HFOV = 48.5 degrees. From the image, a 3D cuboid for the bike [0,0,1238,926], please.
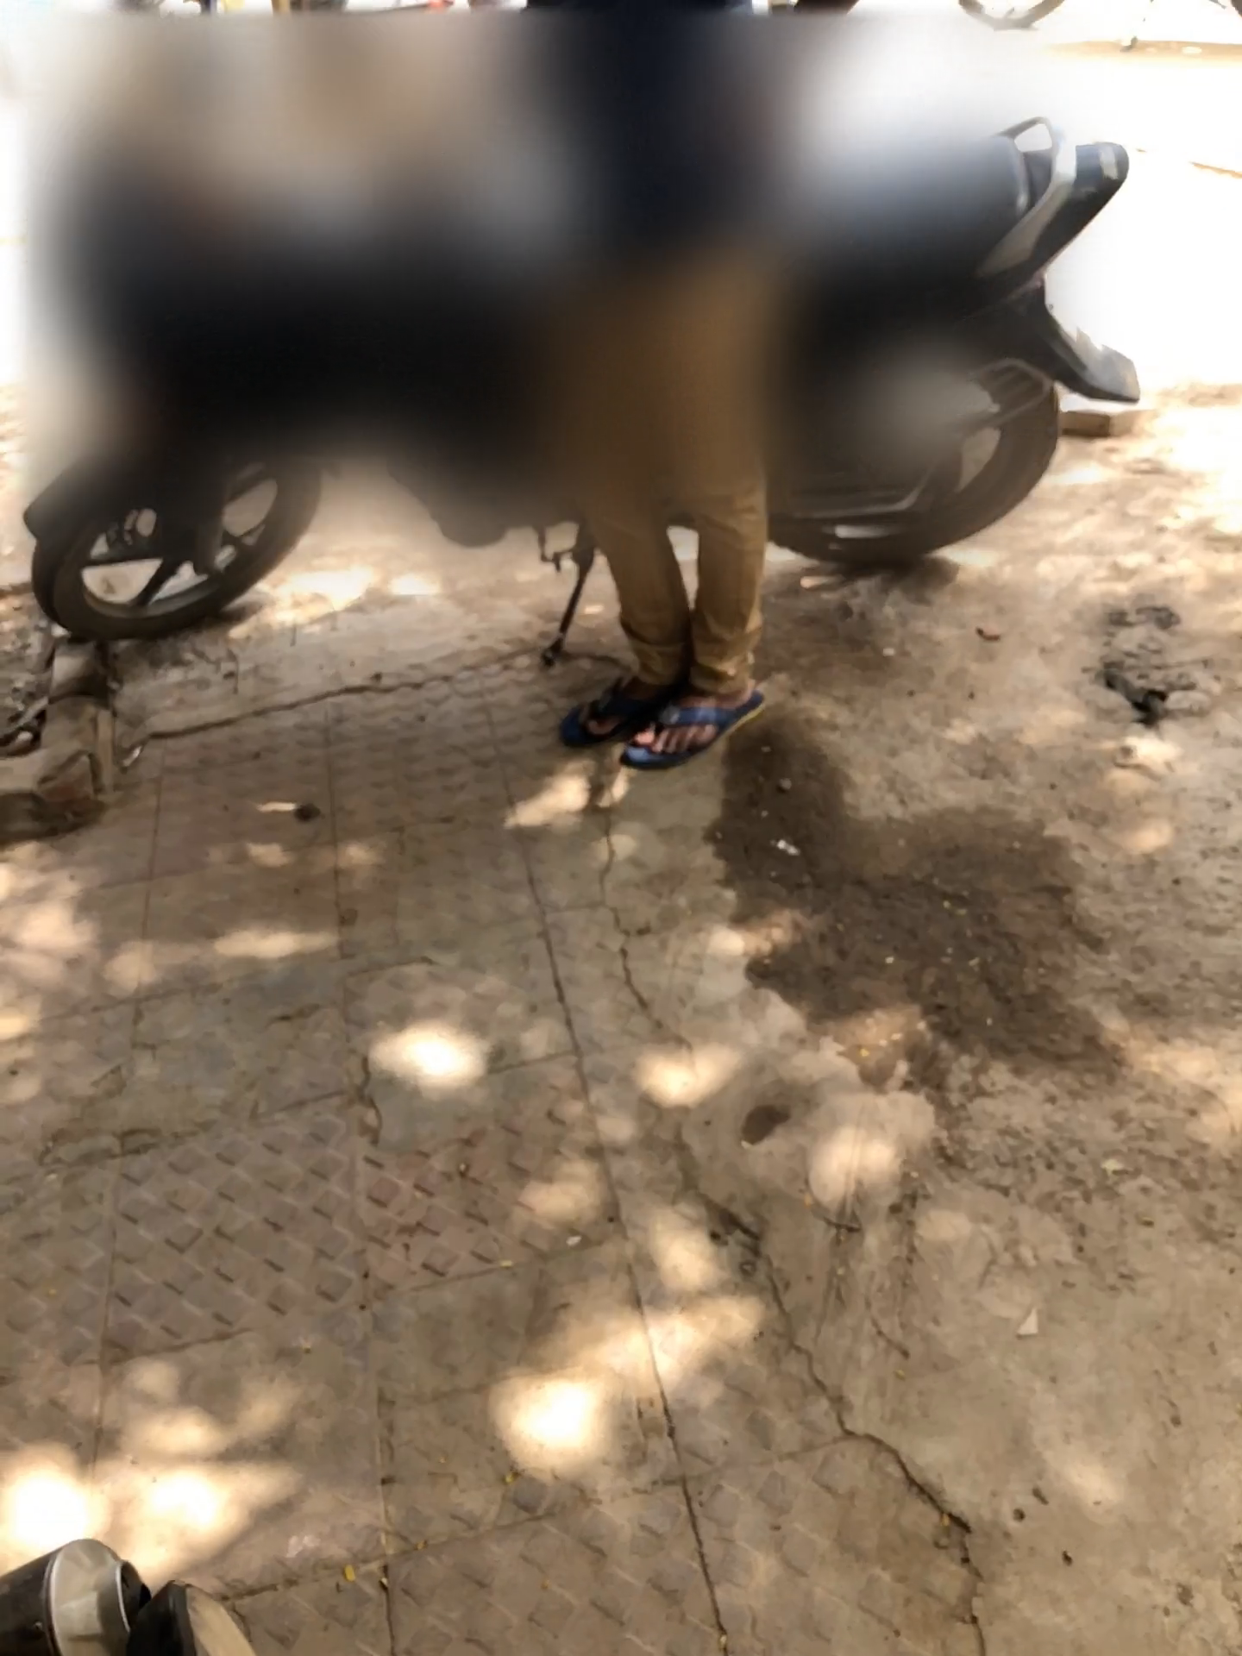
[{"bbox_3d":[-0.201,-0.669,2.105,1.891,1.177,0.802,-7,38,0],"label":"bike"}]
